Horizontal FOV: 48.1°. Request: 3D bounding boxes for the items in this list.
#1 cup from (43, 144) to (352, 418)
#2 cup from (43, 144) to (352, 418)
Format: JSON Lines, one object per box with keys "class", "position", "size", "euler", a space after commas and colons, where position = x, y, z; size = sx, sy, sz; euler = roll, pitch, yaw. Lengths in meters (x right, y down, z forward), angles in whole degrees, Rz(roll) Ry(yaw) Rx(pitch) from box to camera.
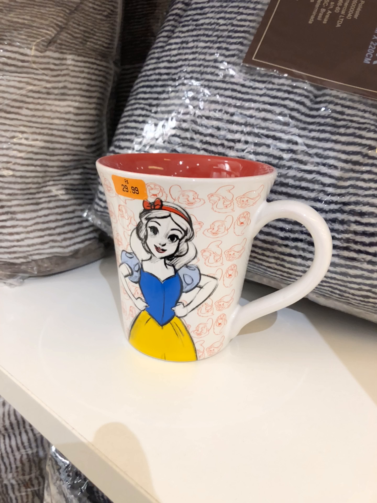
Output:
{"class": "cup", "position": [0.008, 0.000, 0.214], "size": [0.120, 0.089, 0.090], "euler": [11, 21, 23]}
{"class": "cup", "position": [0.008, 0.000, 0.214], "size": [0.120, 0.089, 0.090], "euler": [11, 21, 23]}
